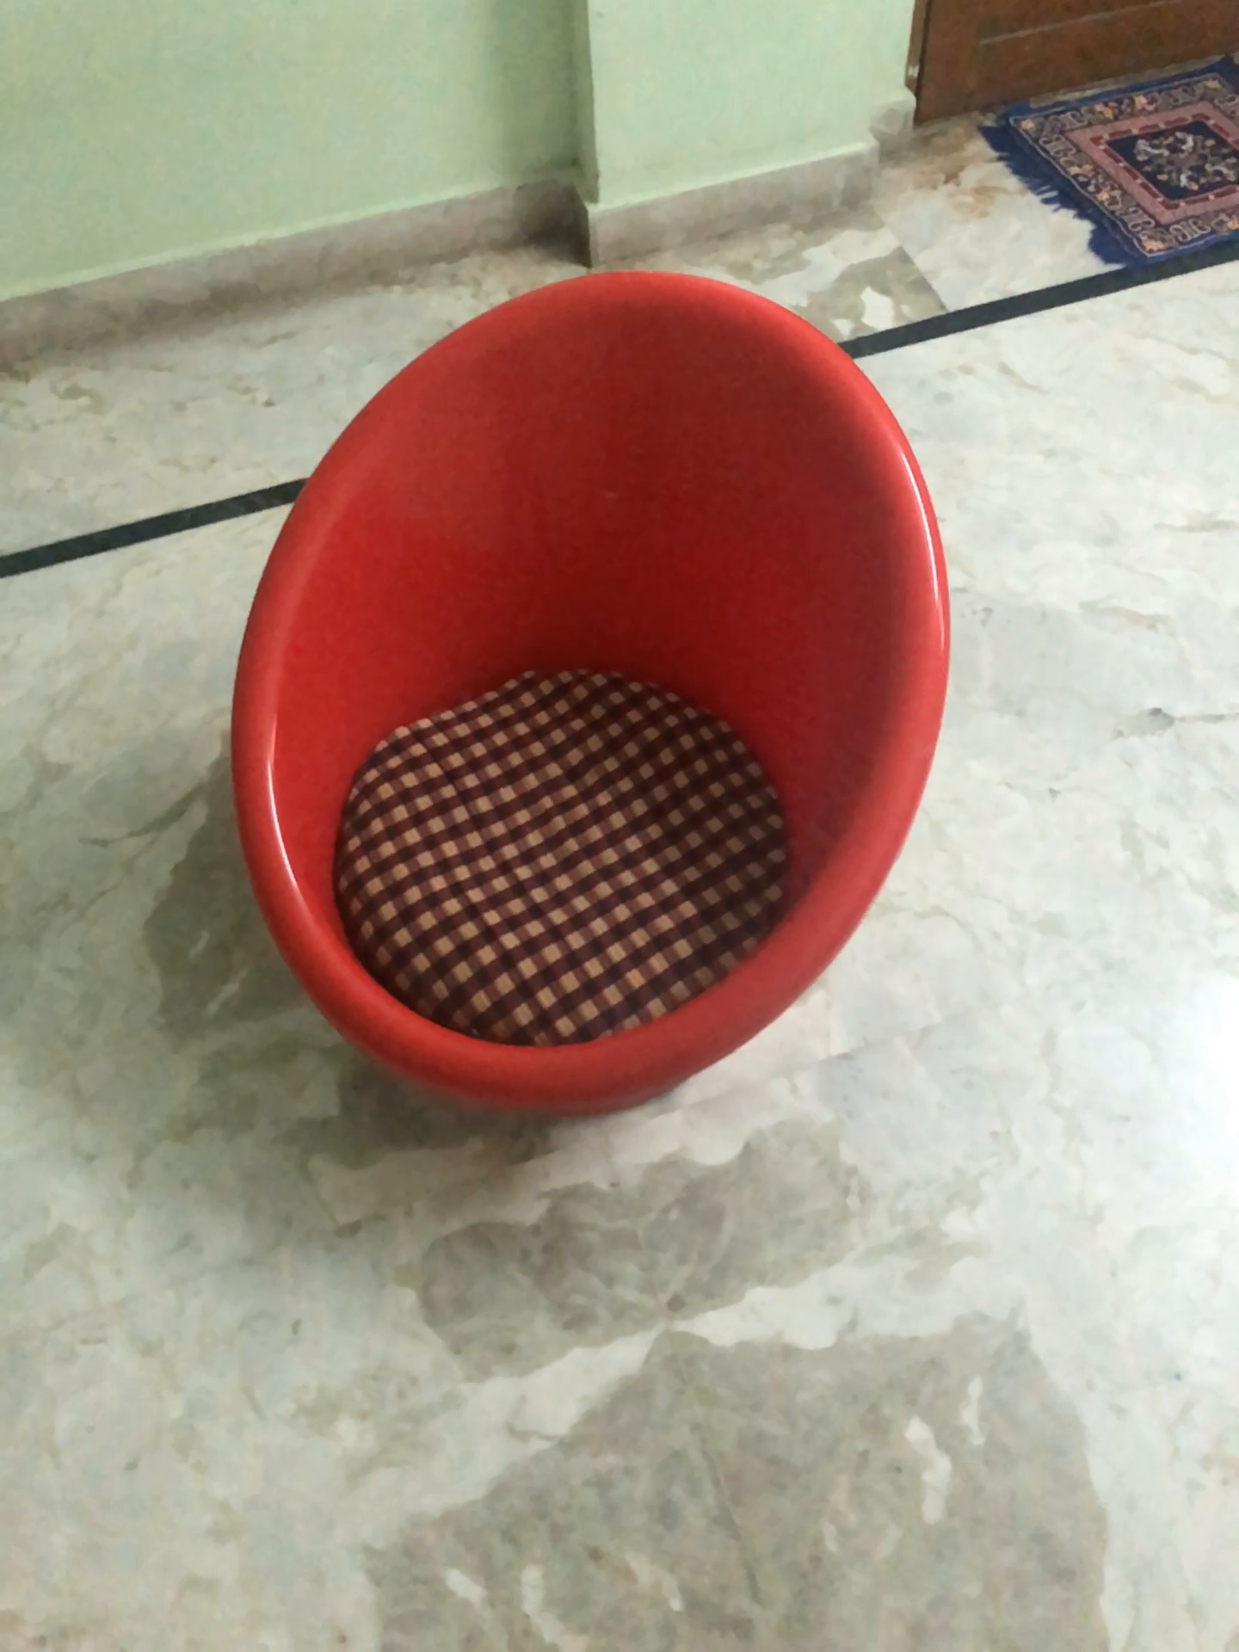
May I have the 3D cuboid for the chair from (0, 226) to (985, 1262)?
[{"bbox_3d":[-0.053,-0.097,1.310,0.620,0.507,0.743,12,57,10],"label":"chair"}]
